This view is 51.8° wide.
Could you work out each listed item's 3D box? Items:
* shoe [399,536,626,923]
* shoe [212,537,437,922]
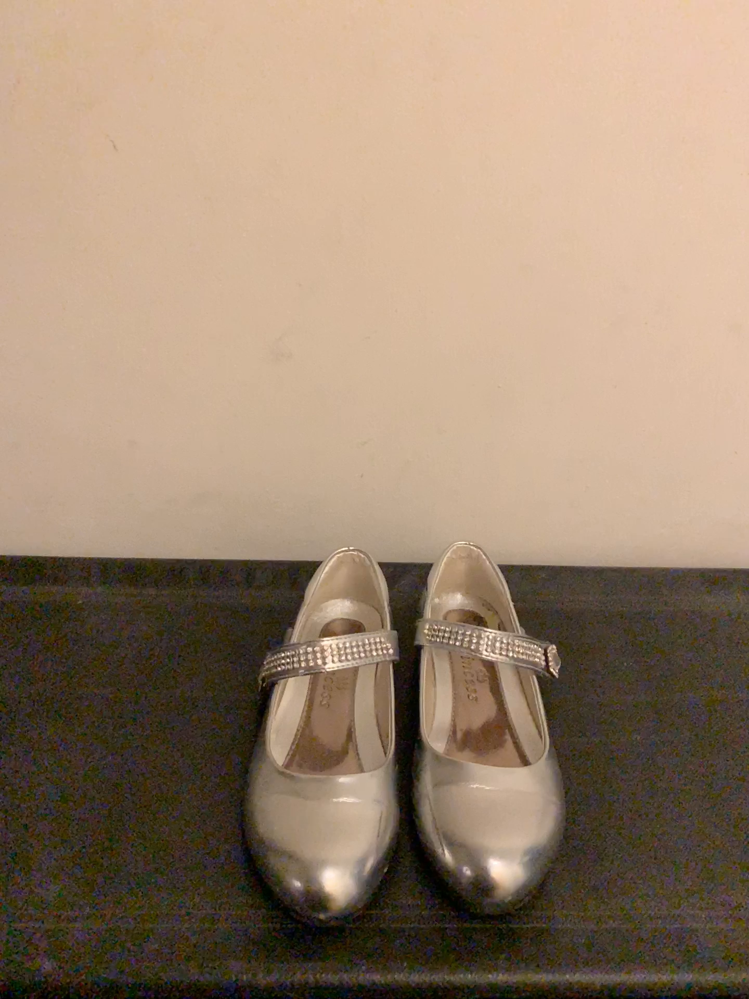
[{"bbox_3d":[0.060,0.108,0.407,0.090,0.089,0.182,-1,31,3],"label":"shoe"},{"bbox_3d":[-0.015,0.109,0.410,0.090,0.089,0.182,-1,31,3],"label":"shoe"}]
